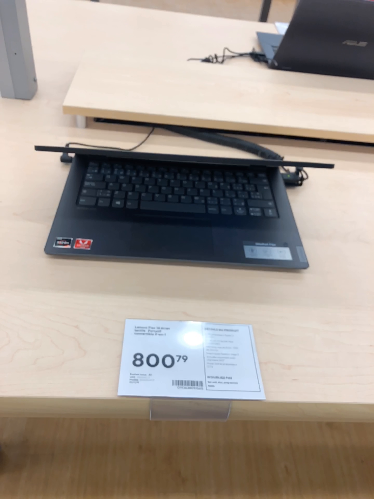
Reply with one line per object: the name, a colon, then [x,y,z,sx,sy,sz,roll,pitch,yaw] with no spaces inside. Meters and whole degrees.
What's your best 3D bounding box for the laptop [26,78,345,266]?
laptop: [-0.003,-0.109,0.553,0.331,0.121,0.229,3,44,-5]
